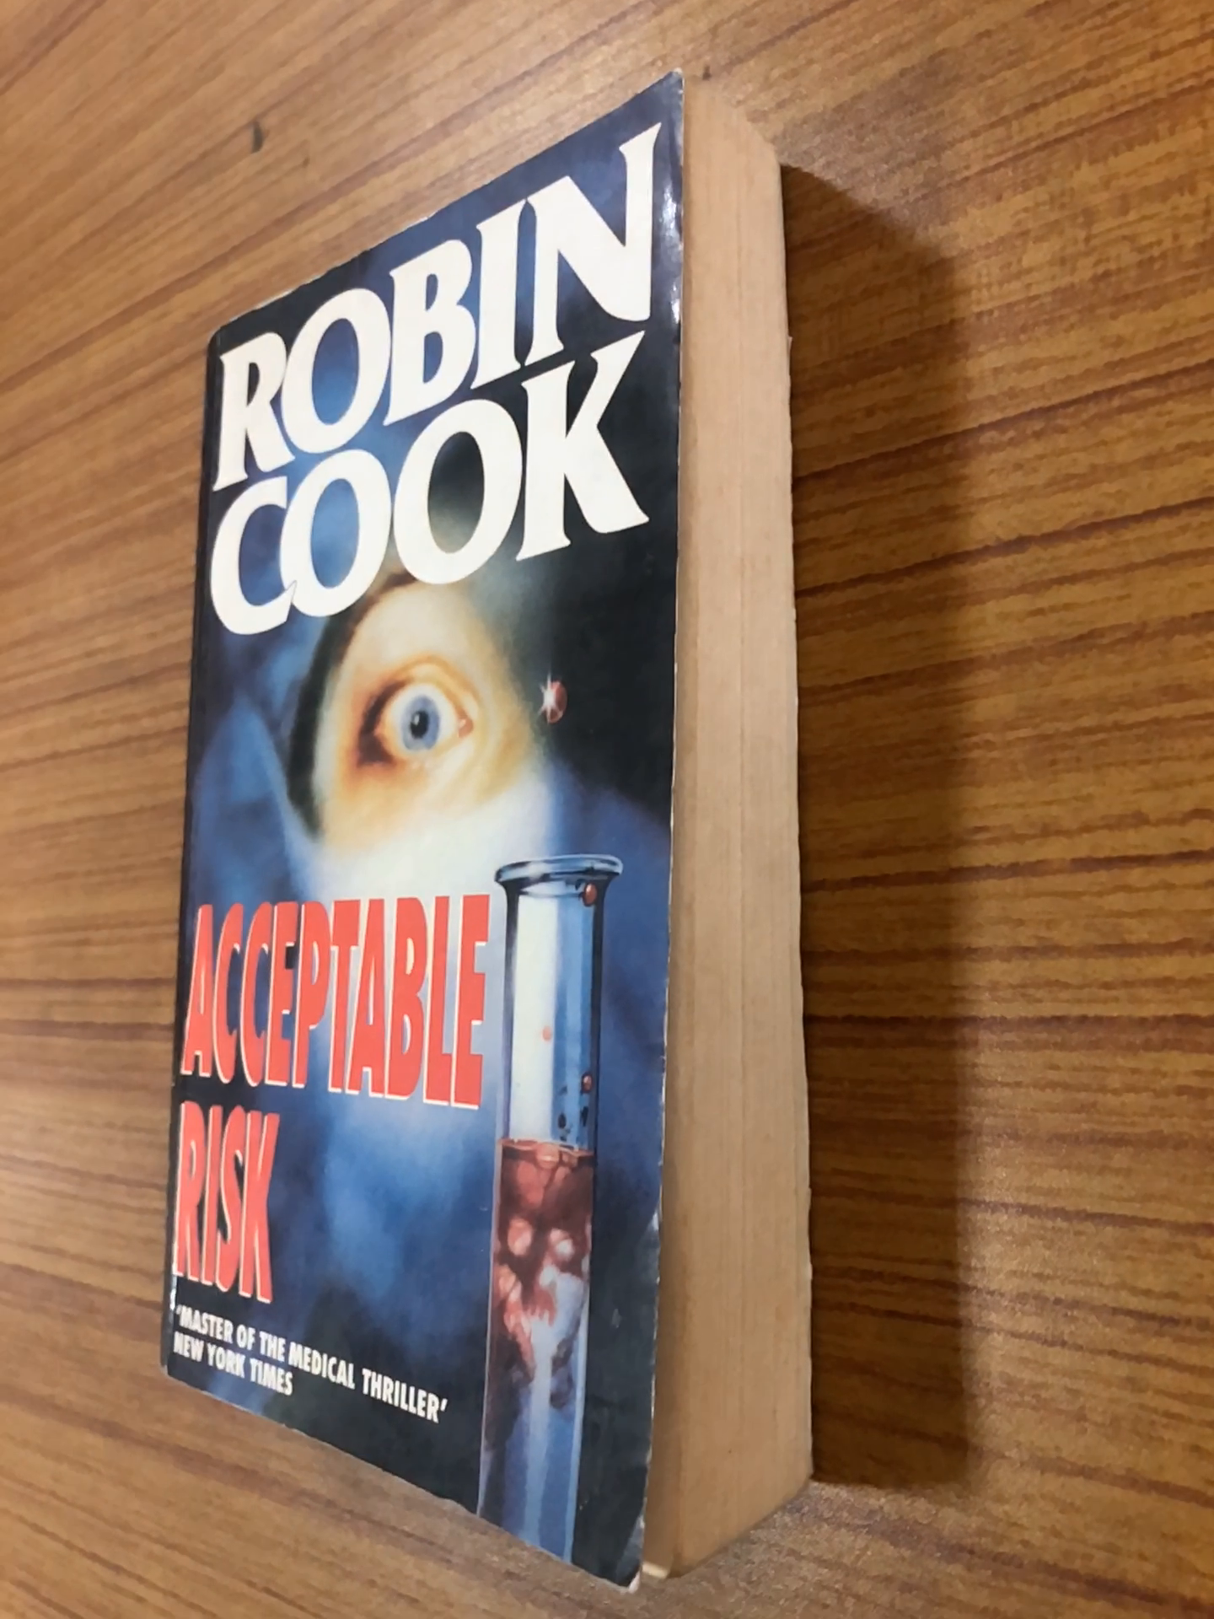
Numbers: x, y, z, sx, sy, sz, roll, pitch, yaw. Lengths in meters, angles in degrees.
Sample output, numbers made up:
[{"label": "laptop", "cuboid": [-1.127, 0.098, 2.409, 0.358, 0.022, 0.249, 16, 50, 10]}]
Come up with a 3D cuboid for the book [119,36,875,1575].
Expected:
[{"label": "book", "cuboid": [-0.021, 0.000, 0.202, 0.111, 0.040, 0.170, -5, 82, 41]}]
